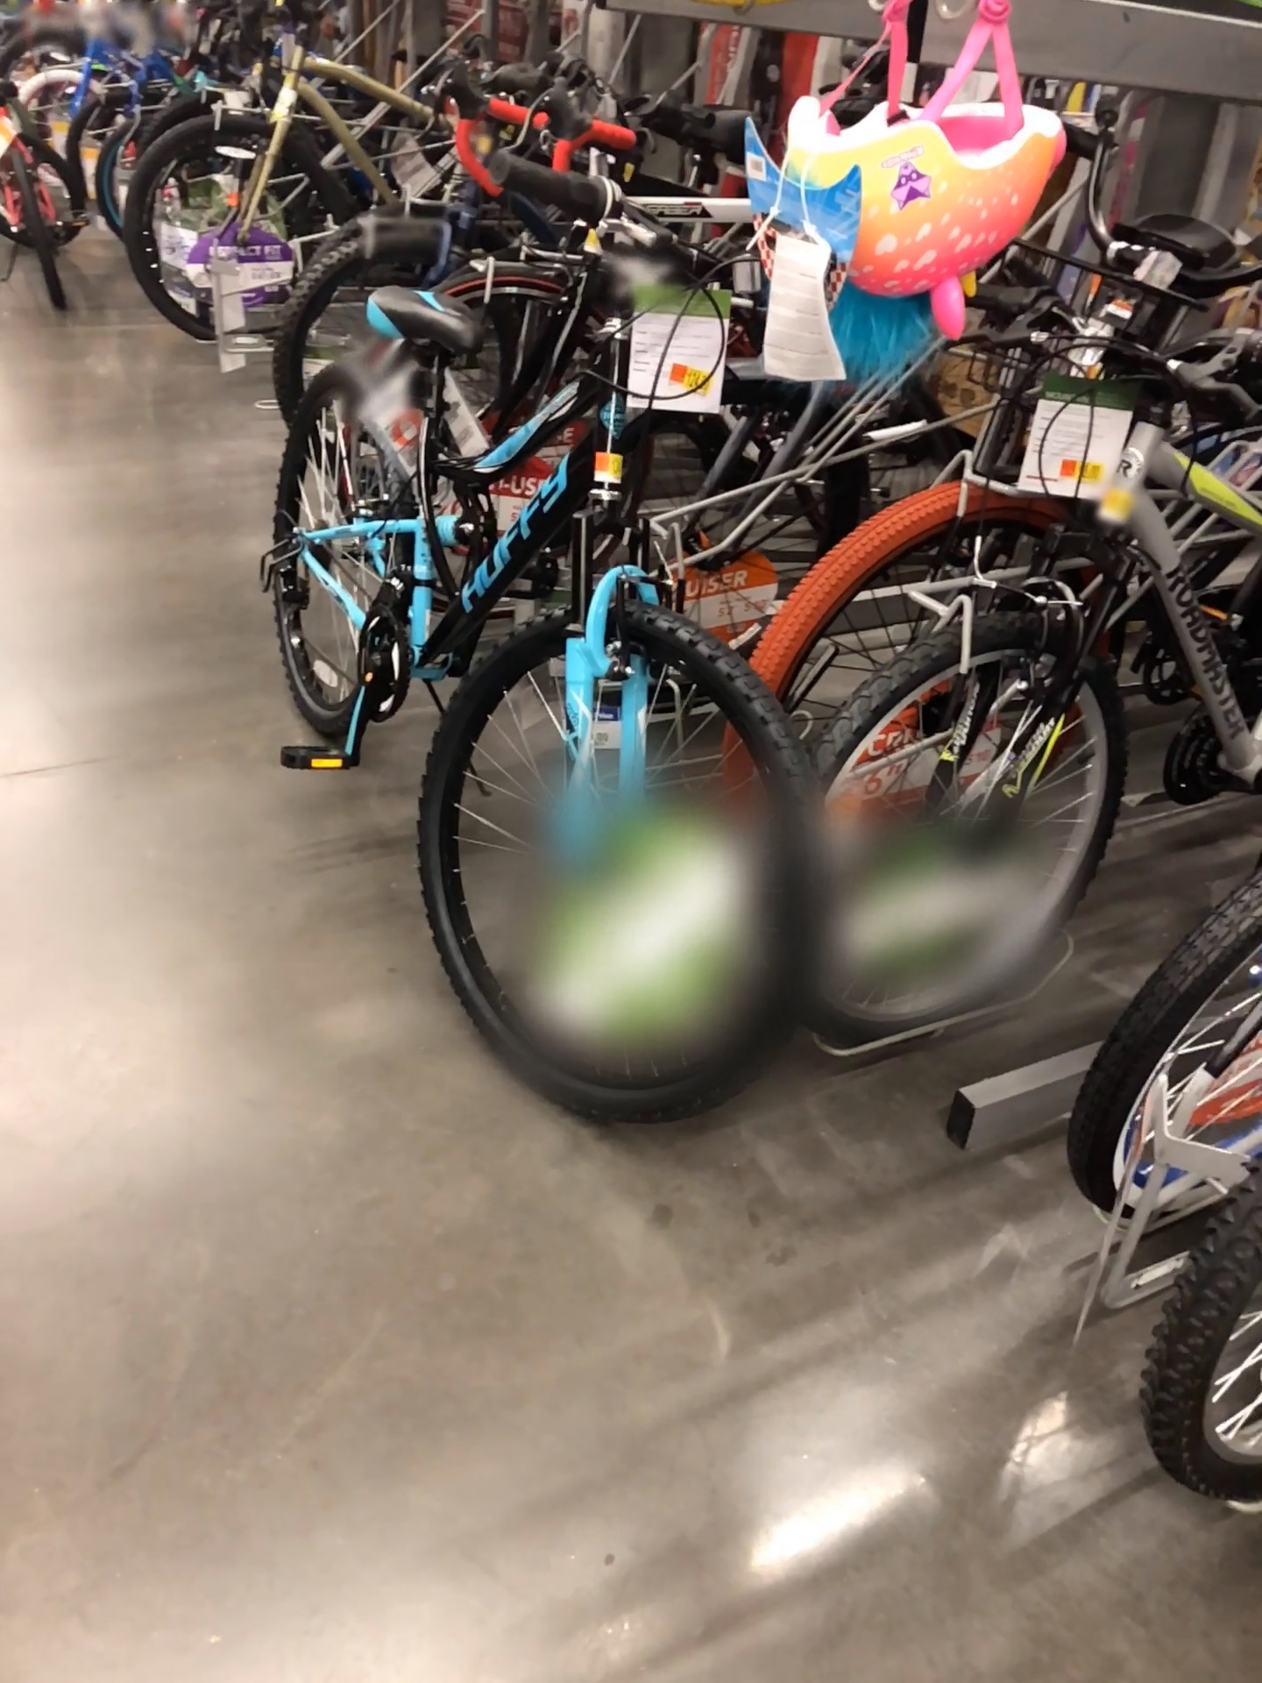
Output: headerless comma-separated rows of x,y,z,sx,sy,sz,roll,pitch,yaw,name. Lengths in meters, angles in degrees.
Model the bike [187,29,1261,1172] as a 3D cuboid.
-0.057,-0.512,2.076,0.544,1.120,1.713,-16,38,-28,bike
